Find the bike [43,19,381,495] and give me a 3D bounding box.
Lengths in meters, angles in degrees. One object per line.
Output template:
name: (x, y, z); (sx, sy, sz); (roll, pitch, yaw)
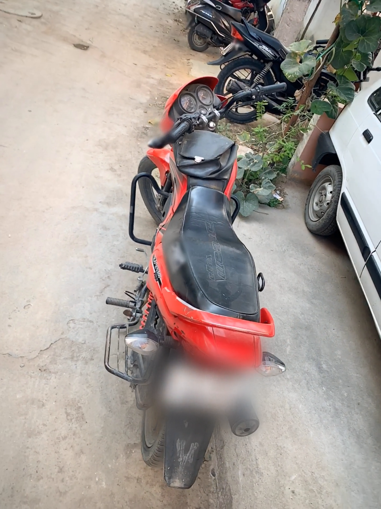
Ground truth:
bike: (-0.100, -0.108, 1.679); (0.759, 1.092, 1.712); (8, 40, -17)
